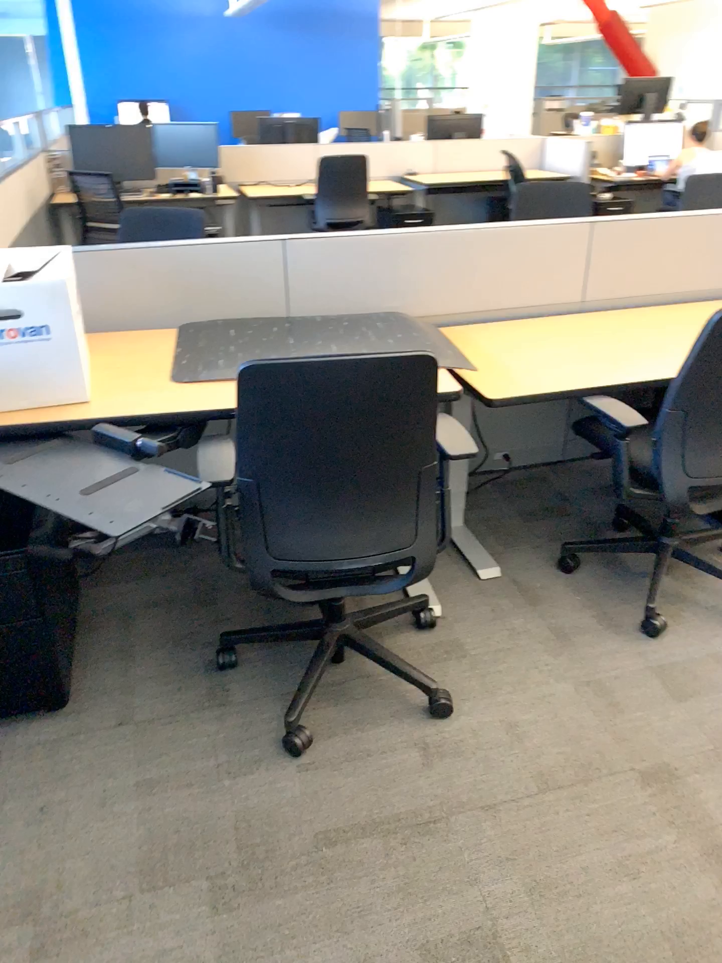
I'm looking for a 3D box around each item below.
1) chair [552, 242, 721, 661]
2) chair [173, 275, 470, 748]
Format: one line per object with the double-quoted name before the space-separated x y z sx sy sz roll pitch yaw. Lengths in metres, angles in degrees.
"chair" 0.988 -0.109 2.130 0.520 0.994 0.583 -8 29 -14
"chair" -0.106 0.056 1.884 0.560 0.994 0.604 -4 28 -7
